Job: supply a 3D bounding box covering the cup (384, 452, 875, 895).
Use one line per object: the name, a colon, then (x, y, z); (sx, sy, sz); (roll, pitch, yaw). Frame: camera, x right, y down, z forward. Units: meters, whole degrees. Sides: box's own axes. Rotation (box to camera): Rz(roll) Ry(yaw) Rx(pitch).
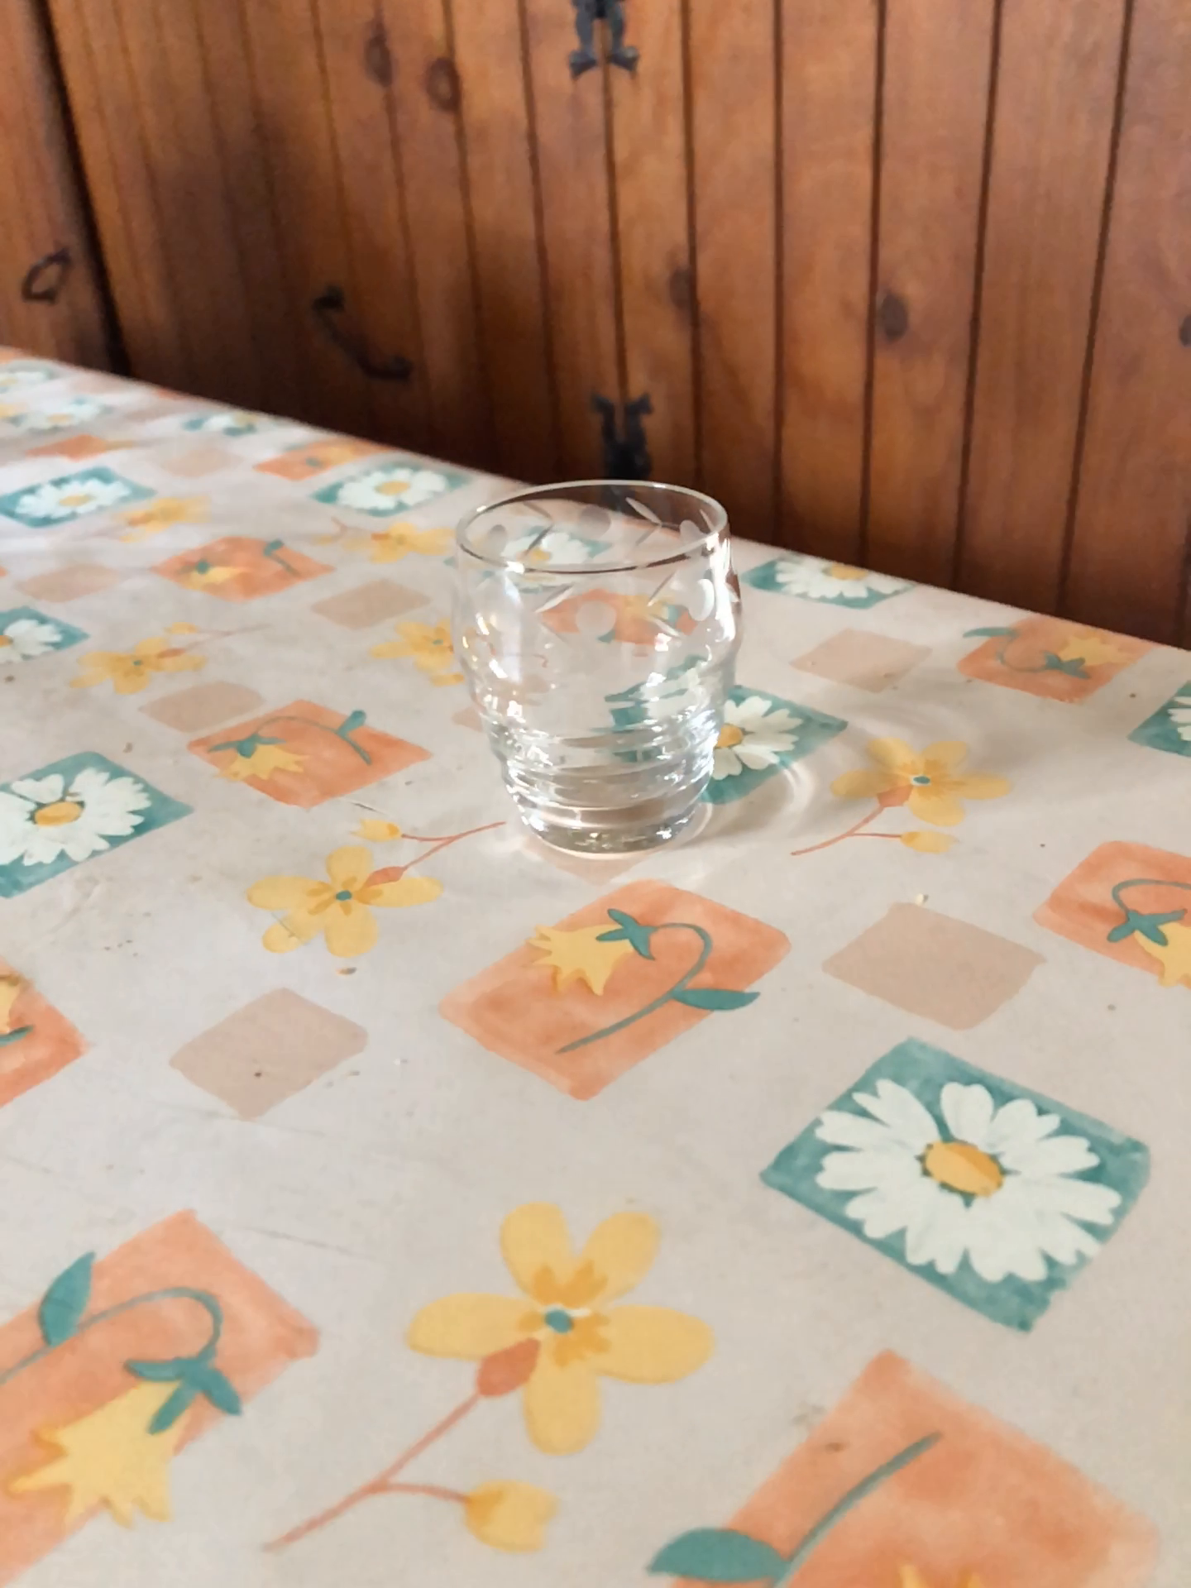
cup: (0.006, -0.026, 0.241); (0.060, 0.050, 0.060); (-2, 29, 1)
